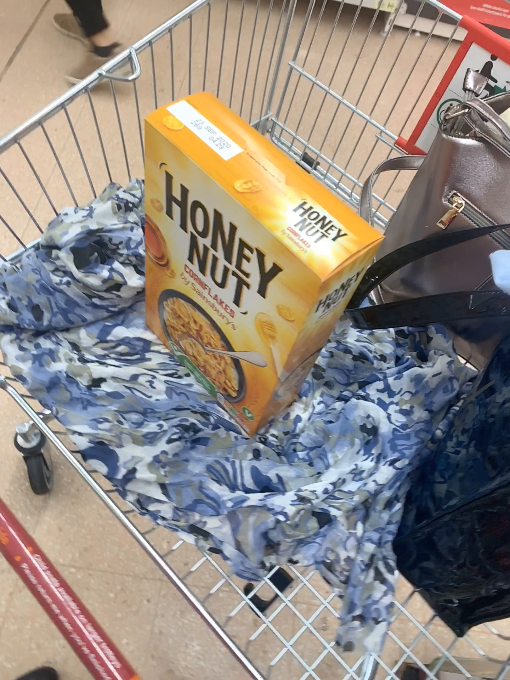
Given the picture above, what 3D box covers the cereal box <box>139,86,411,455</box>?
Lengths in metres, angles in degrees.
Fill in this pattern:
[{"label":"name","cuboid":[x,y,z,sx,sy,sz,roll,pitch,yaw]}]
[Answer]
[{"label":"cereal box","cuboid":[-0.015,-0.041,0.508,0.080,0.298,0.211,-36,71,-29]}]
